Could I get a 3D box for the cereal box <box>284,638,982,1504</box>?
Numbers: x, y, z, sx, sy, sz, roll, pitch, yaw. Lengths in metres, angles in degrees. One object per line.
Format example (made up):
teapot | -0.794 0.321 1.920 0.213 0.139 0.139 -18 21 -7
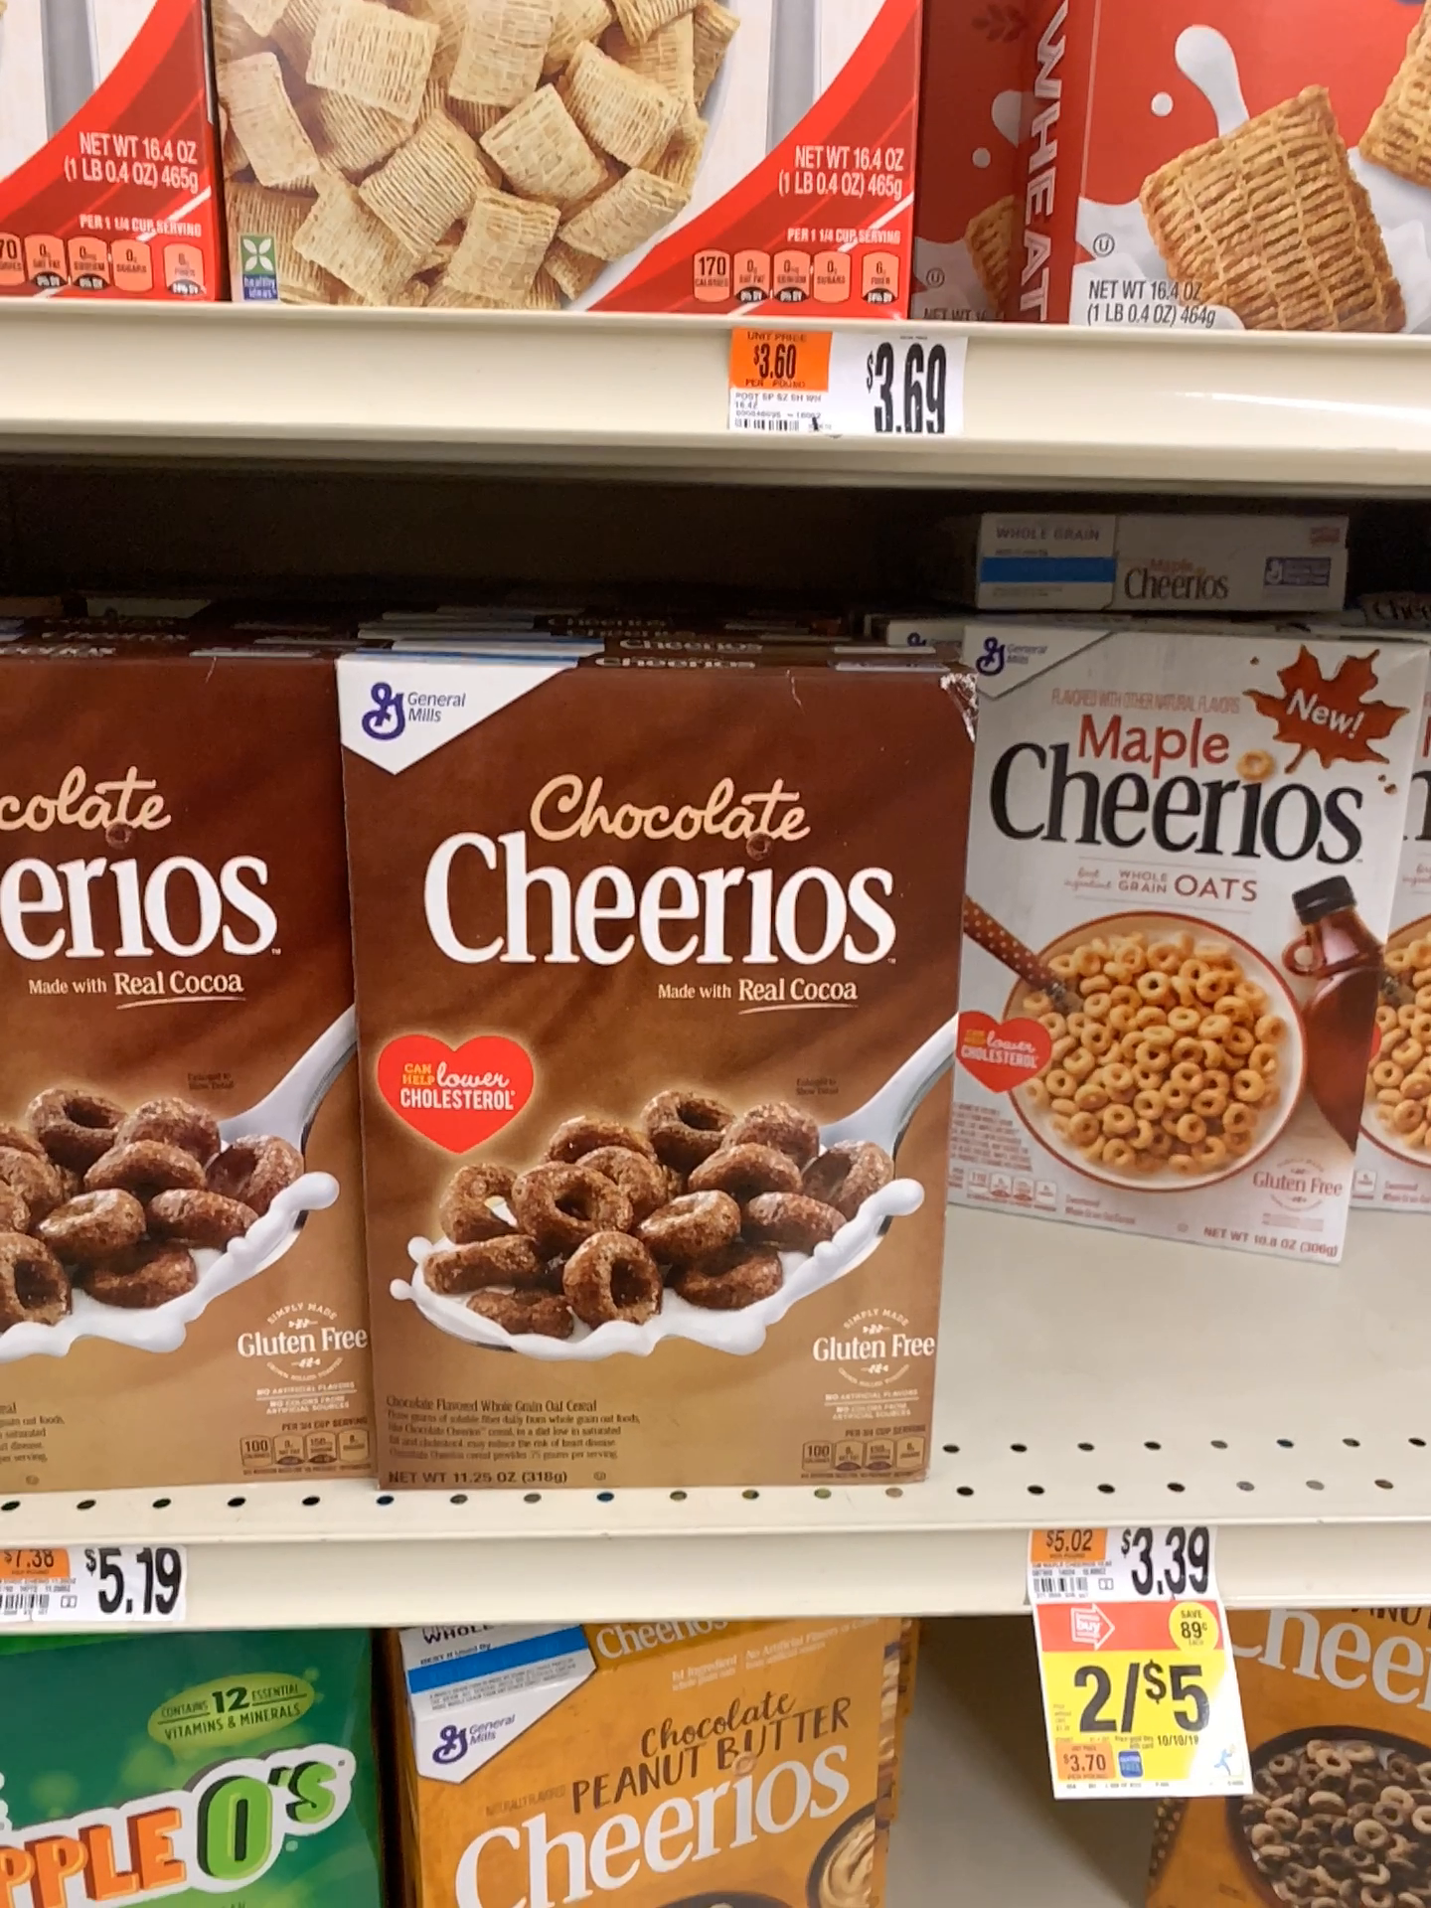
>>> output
cereal box | -0.028 0.046 0.515 0.210 0.299 0.060 1 17 -2
